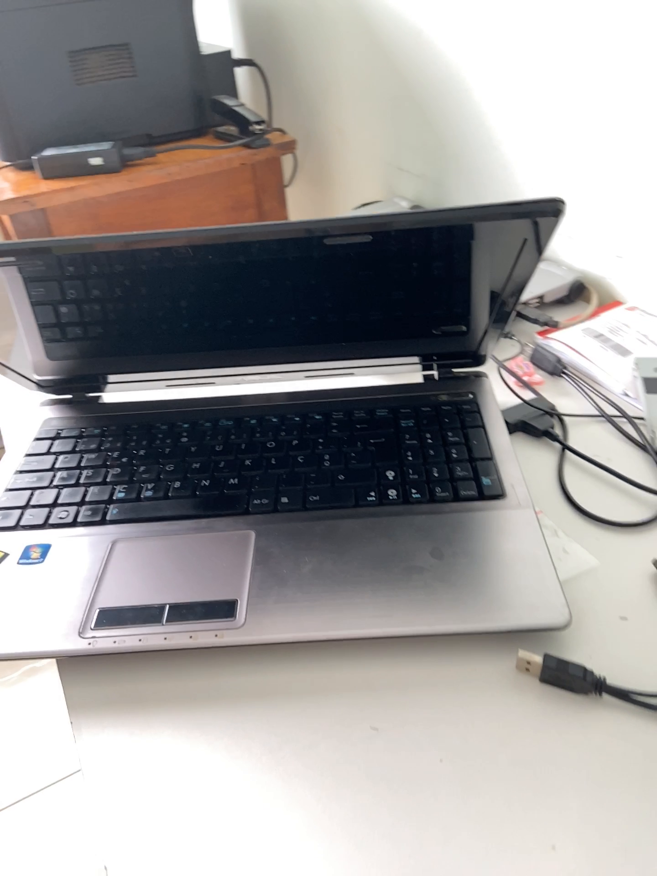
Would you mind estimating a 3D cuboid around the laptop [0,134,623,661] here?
[{"bbox_3d":[-0.070,-0.037,0.409,0.376,0.182,0.247,-4,37,4],"label":"laptop"}]
